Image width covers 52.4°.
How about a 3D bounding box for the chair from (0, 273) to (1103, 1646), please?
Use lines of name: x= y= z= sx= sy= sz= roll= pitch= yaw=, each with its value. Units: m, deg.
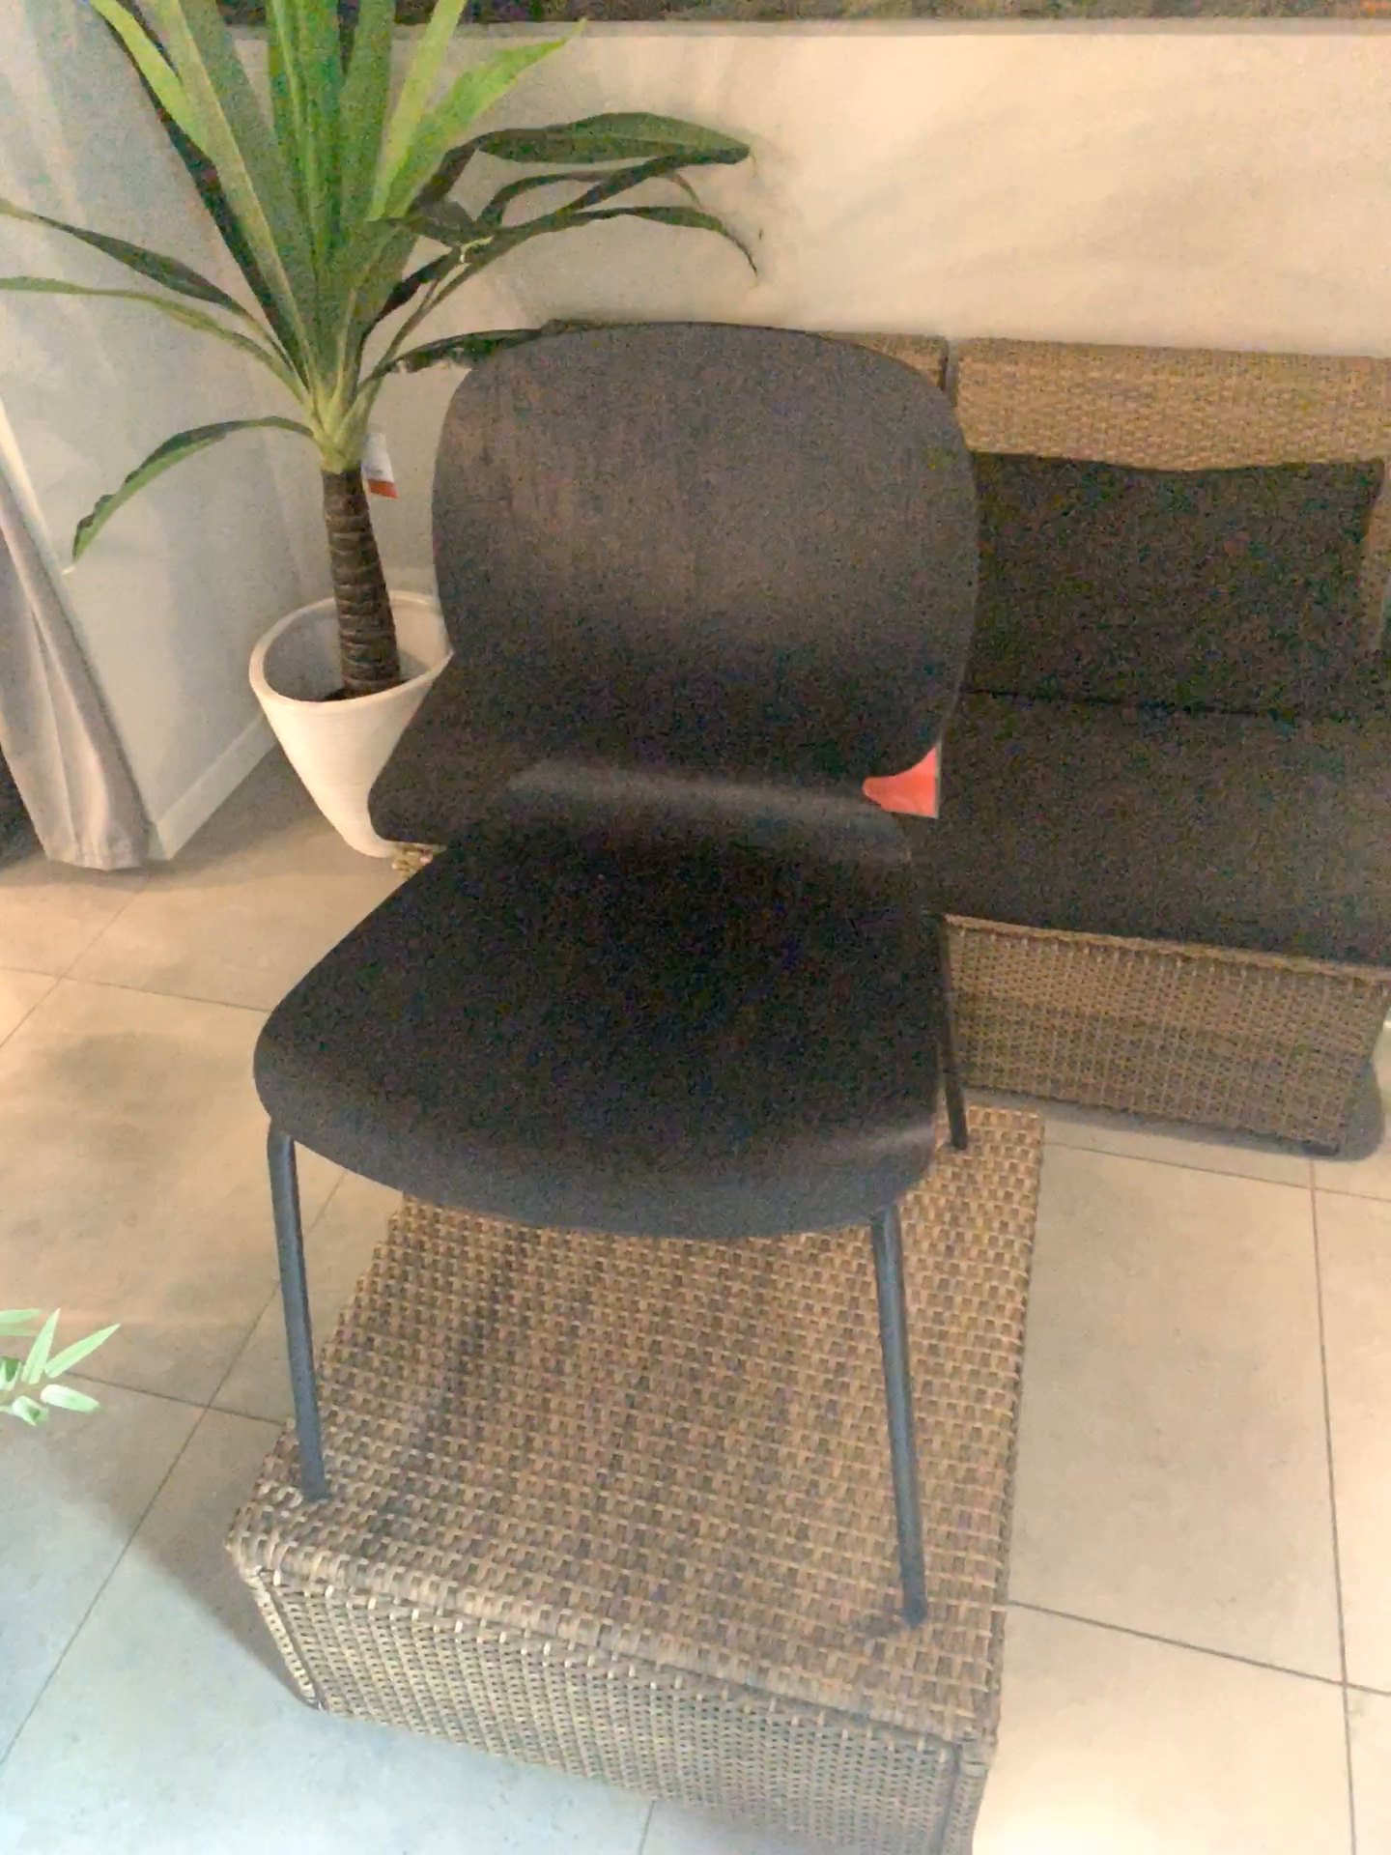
chair: x=-0.035 y=0.017 z=1.037 sx=0.530 sy=0.767 sz=0.562 roll=7 pitch=41 yaw=11
